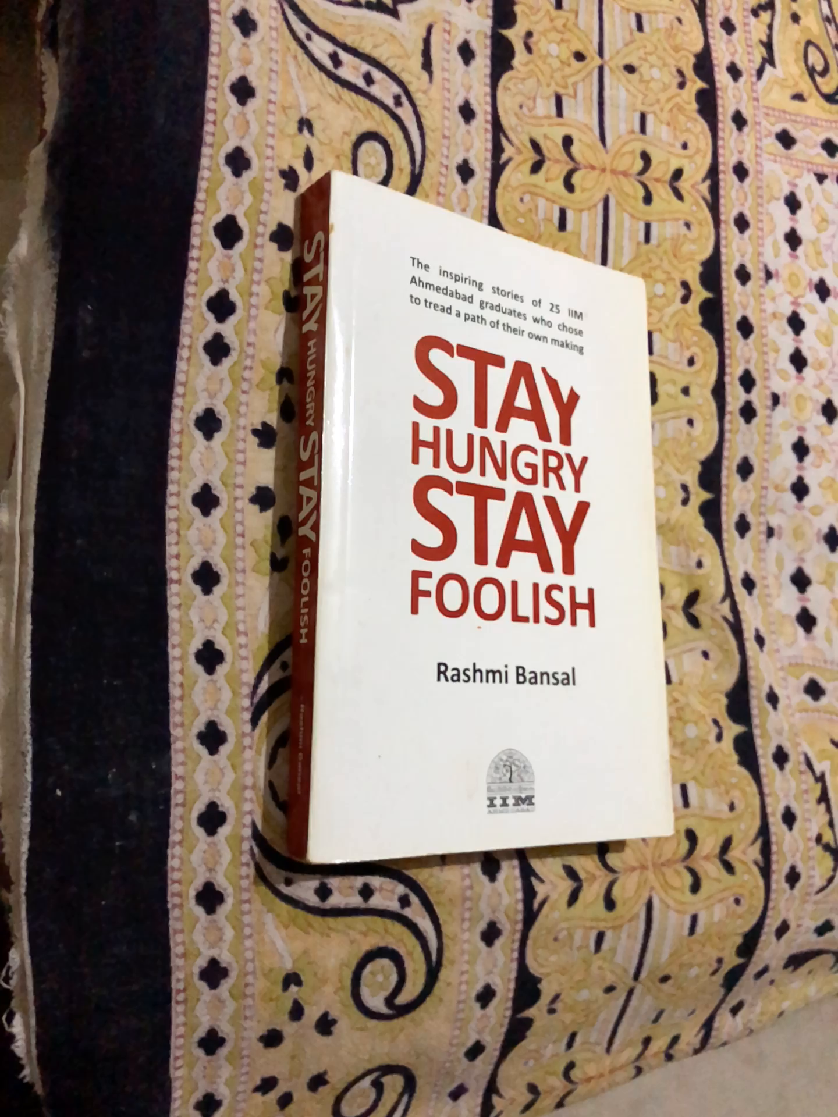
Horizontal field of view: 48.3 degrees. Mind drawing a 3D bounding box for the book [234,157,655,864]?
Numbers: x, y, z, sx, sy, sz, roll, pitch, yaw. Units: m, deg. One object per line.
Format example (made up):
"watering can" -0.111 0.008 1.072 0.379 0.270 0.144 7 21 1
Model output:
"book" 0.016 -0.010 0.325 0.140 0.040 0.210 7 80 -31
